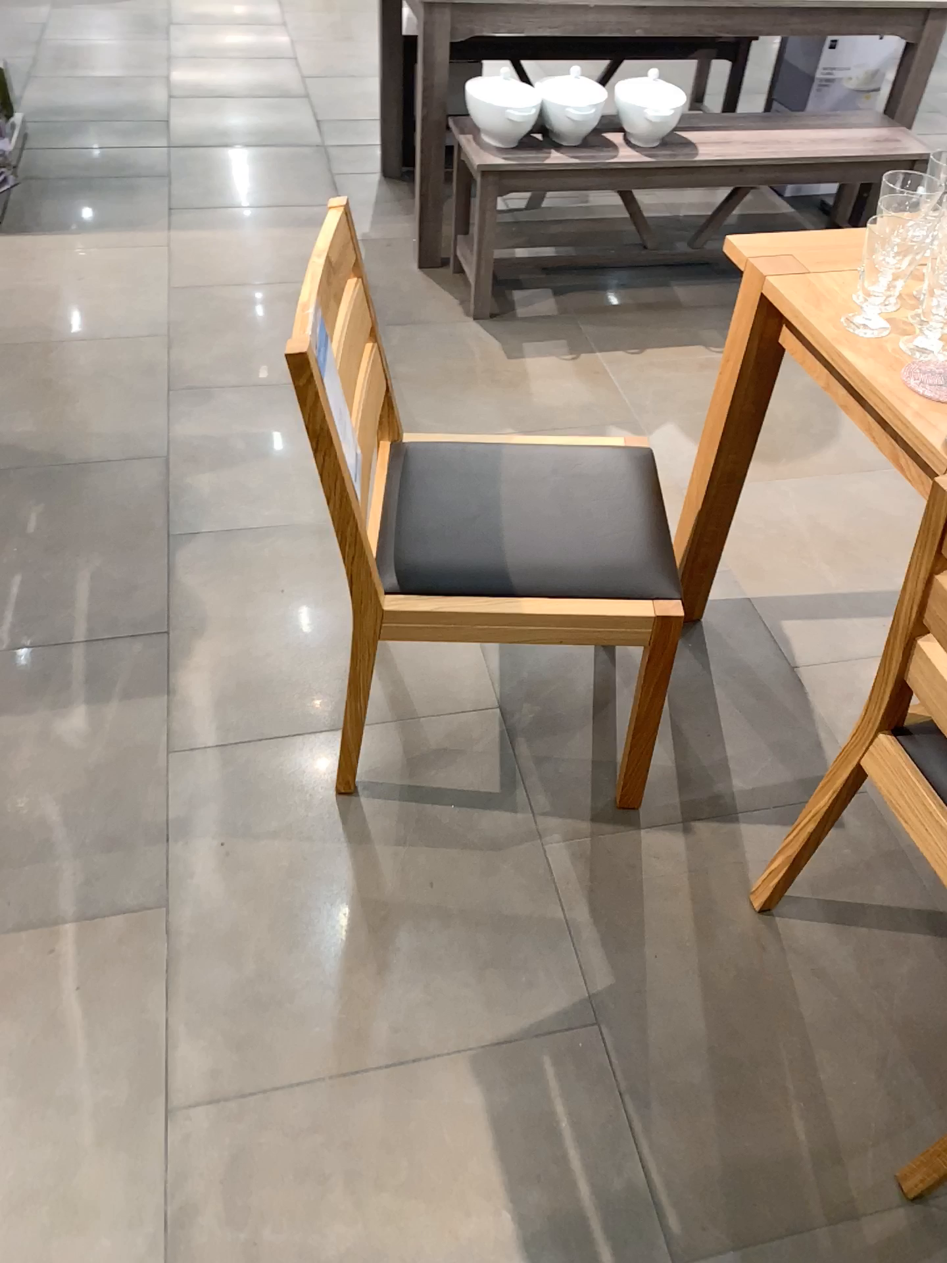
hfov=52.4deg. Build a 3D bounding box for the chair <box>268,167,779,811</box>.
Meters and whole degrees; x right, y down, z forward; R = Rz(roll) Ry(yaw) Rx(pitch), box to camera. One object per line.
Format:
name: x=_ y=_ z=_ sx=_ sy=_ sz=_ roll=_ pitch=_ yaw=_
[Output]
chair: x=0.037 y=-0.200 z=1.544 sx=0.563 sy=0.815 sz=0.568 roll=3 pitch=44 yaw=-2
